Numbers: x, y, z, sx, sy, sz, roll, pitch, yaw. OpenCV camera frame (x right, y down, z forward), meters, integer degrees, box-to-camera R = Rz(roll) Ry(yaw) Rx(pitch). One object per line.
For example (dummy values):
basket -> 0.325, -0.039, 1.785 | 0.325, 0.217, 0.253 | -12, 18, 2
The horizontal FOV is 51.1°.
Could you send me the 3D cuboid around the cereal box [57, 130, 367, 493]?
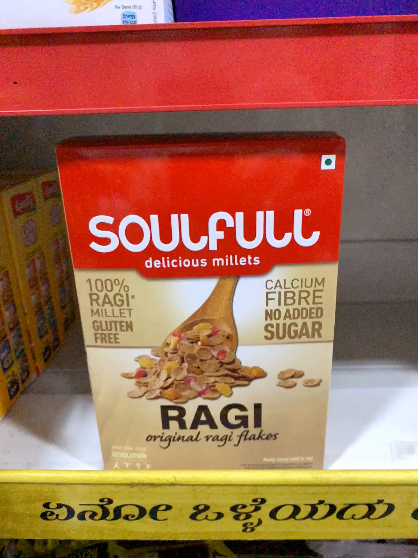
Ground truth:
cereal box -> 0.005, 0.030, 0.311 | 0.170, 0.248, 0.060 | -2, 20, 1
